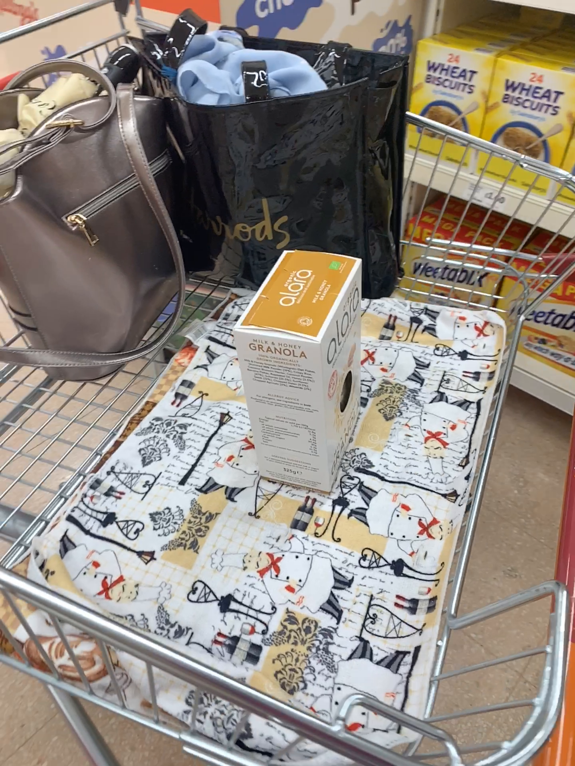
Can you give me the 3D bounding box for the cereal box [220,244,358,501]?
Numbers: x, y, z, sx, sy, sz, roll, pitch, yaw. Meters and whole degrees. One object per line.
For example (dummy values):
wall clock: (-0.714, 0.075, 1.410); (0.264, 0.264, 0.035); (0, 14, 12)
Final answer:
cereal box: (0.011, -0.007, 0.548); (0.080, 0.198, 0.121); (10, 44, 16)
